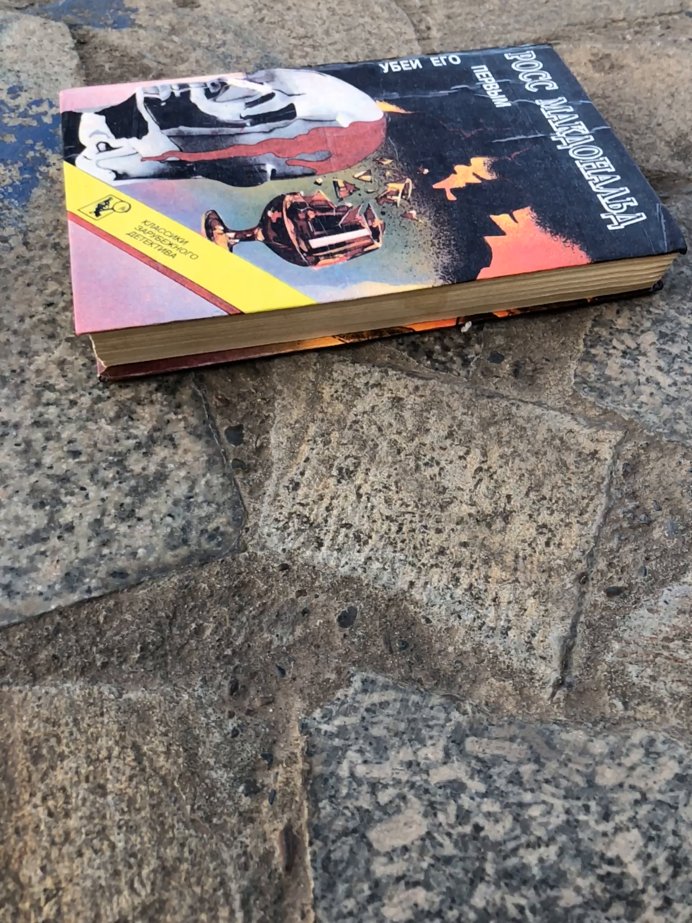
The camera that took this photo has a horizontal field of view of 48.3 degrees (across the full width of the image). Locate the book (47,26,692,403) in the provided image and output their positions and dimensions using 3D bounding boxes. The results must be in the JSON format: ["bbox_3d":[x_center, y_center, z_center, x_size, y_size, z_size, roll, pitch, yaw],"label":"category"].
[{"bbox_3d":[0.002,-0.103,0.289,0.210,0.030,0.140,-10,58,-9],"label":"book"}]
